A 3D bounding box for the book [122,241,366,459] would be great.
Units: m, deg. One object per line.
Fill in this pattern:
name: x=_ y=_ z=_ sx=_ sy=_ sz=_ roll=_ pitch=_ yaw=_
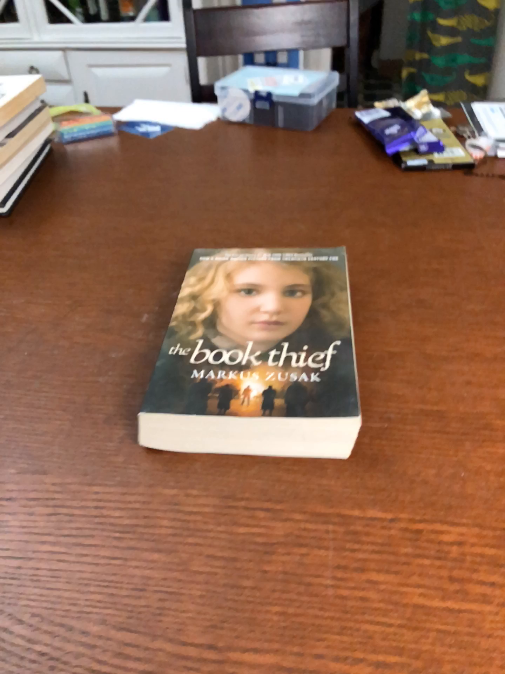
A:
book: x=0.004 y=-0.006 z=0.436 sx=0.150 sy=0.030 sz=0.221 roll=1 pitch=39 yaw=6
